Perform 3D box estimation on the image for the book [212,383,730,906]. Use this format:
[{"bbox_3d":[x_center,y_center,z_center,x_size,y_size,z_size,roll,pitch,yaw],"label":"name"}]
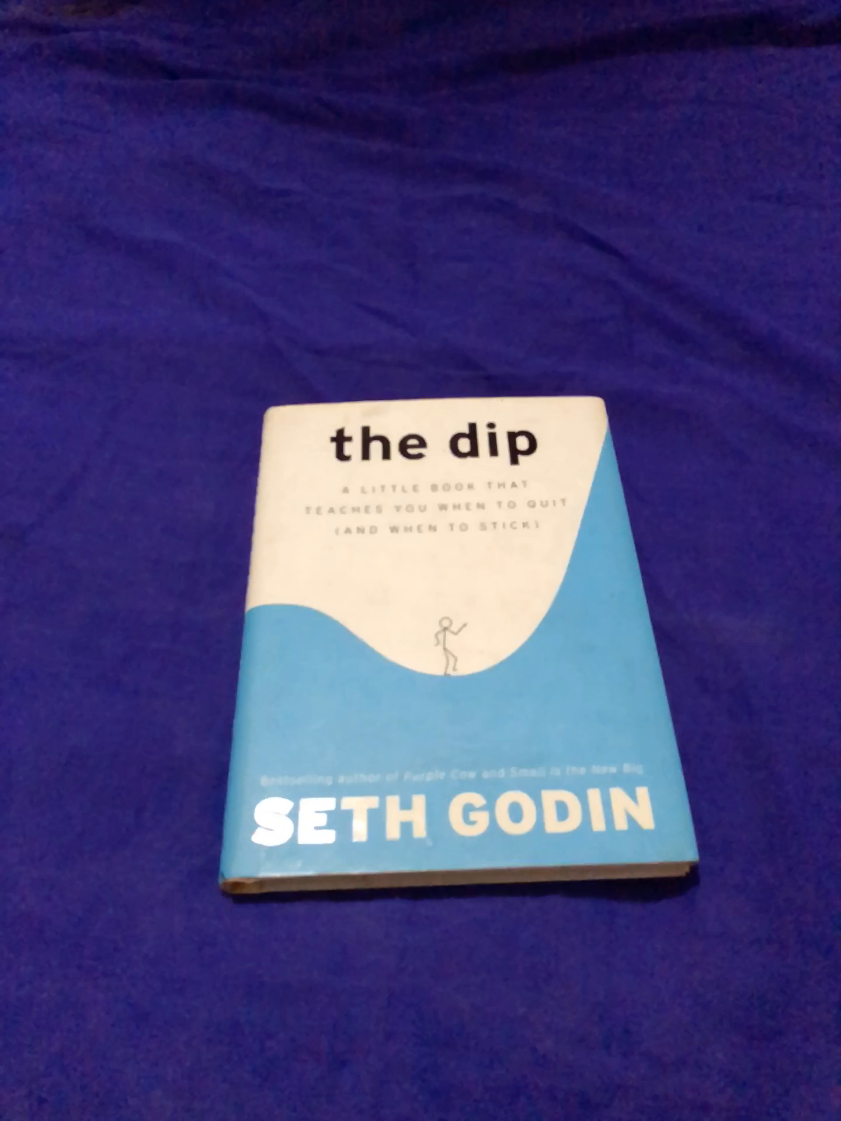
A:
[{"bbox_3d":[0.010,0.014,0.315,0.140,0.020,0.191,-2,53,-2],"label":"book"}]
